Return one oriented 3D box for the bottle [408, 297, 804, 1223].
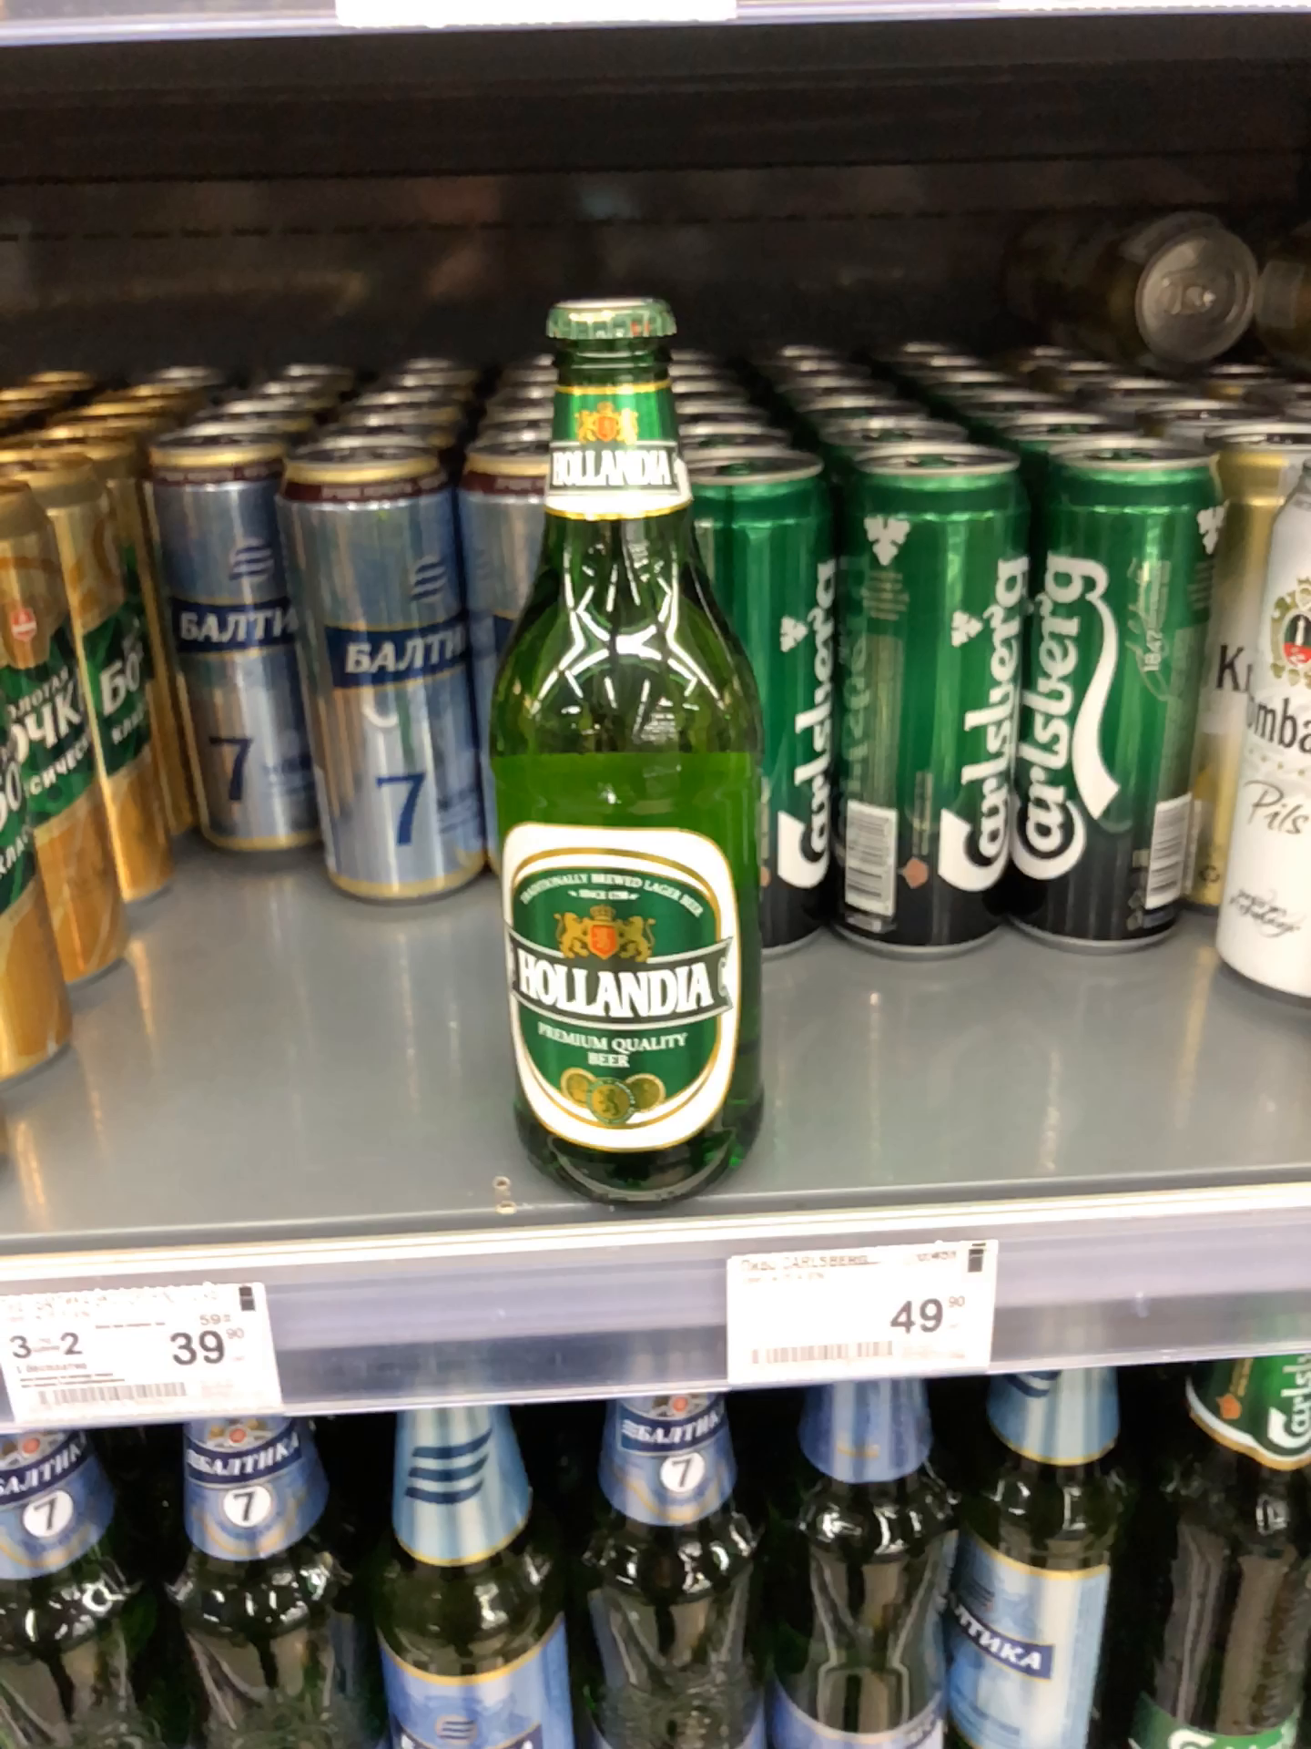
[{"bbox_3d":[-0.006,-0.026,0.357,0.070,0.211,0.063,5,25,14],"label":"bottle"}]
